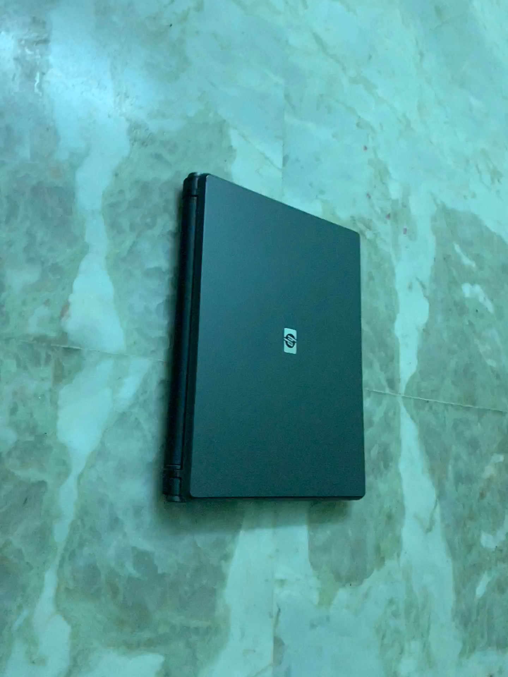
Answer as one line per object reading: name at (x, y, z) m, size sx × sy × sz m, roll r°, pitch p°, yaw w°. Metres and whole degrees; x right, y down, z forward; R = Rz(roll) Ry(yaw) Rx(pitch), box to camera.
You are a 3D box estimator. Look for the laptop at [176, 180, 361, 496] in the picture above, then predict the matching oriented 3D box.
laptop at (0.031, 0.007, 0.558) m, size 0.227 × 0.001 × 0.310 m, roll 12°, pitch 73°, yaw -32°
